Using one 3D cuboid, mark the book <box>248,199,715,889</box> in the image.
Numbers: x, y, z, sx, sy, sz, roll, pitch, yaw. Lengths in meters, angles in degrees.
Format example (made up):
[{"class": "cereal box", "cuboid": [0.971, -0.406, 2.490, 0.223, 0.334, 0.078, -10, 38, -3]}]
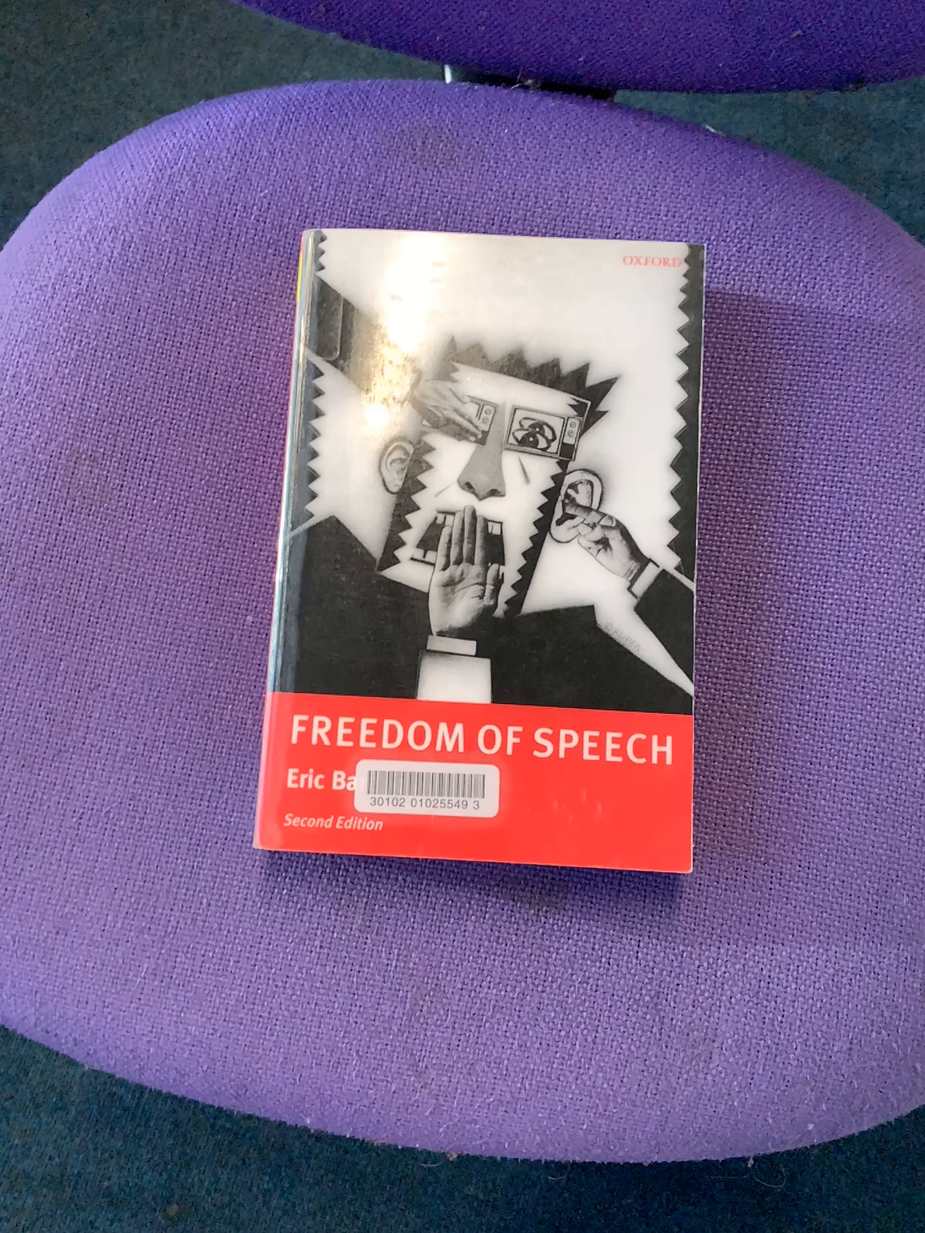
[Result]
[{"class": "book", "cuboid": [0.012, -0.029, 0.372, 0.160, 0.050, 0.250, 3, 81, -1]}]
